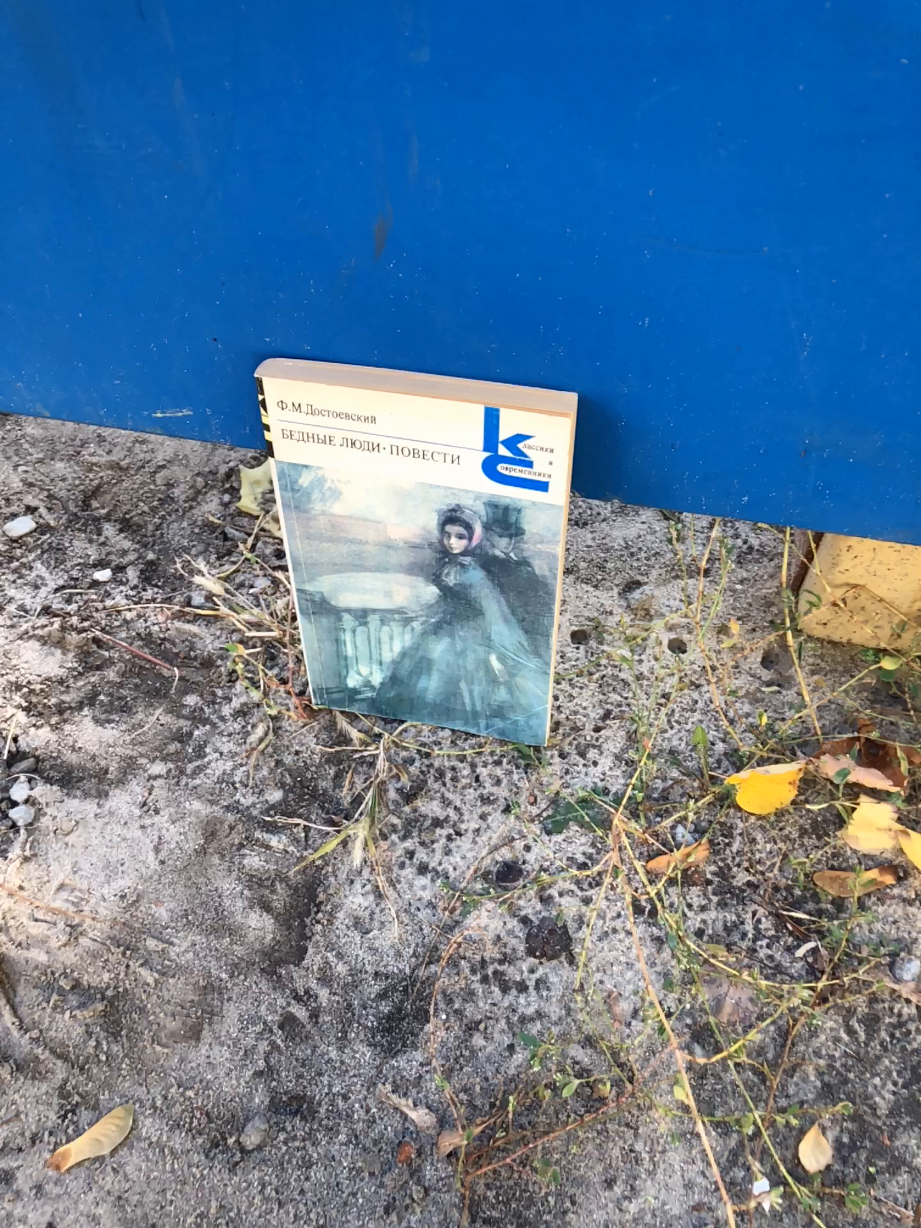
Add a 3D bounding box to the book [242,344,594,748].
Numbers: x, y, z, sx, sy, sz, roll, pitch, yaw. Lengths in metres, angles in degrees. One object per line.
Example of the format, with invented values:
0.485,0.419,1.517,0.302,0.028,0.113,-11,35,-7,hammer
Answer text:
-0.015,-0.020,0.440,0.127,0.187,0.026,9,46,10,book
